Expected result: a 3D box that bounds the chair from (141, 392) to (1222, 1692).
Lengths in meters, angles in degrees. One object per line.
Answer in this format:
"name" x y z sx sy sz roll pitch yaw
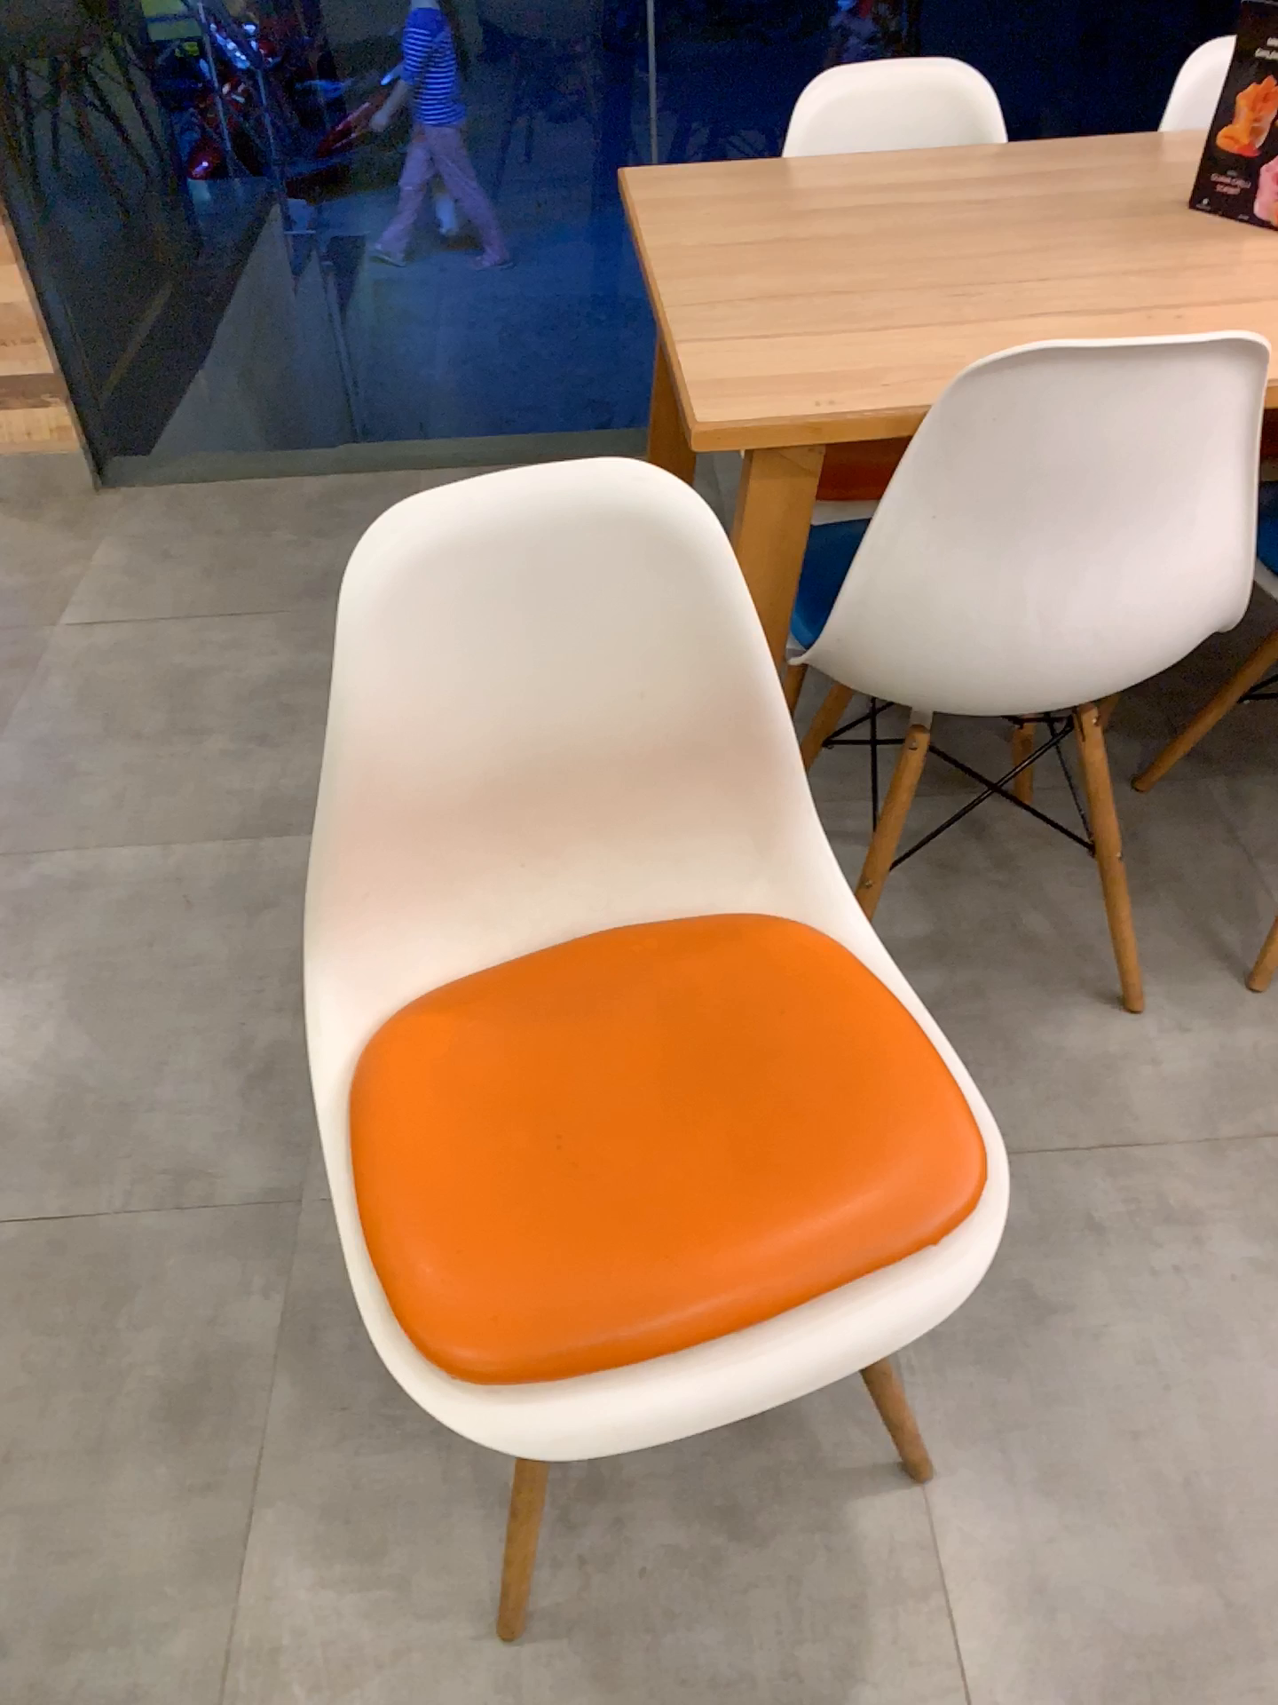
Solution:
"chair" -0.011 0.148 0.927 0.440 0.724 0.454 -14 43 -13
